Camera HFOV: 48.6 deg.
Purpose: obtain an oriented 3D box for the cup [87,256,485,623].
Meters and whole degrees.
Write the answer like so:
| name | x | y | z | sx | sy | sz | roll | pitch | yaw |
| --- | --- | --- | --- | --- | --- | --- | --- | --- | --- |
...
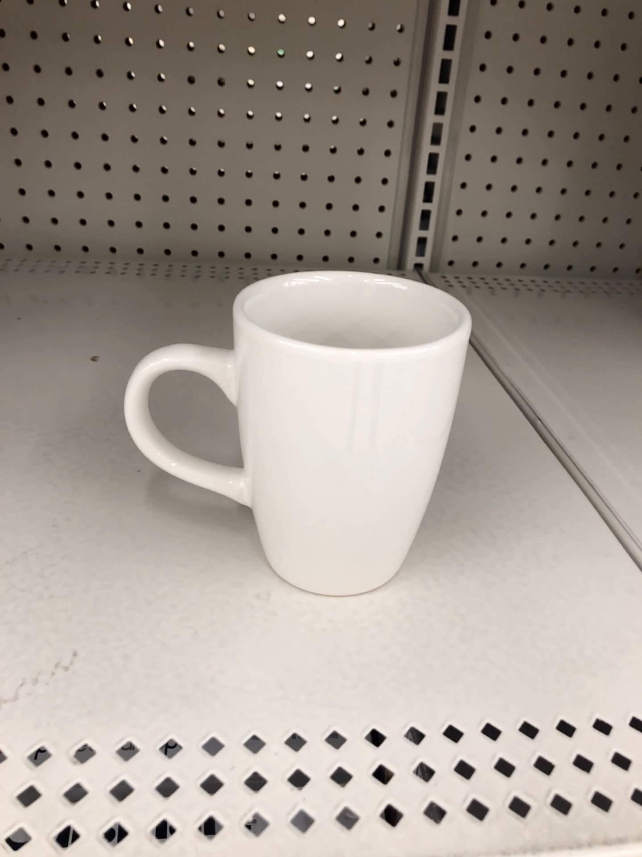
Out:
| name | x | y | z | sx | sy | sz | roll | pitch | yaw |
| --- | --- | --- | --- | --- | --- | --- | --- | --- | --- |
| cup | -0.011 | 0.001 | 0.282 | 0.125 | 0.105 | 0.081 | 6 | 29 | 4 |
